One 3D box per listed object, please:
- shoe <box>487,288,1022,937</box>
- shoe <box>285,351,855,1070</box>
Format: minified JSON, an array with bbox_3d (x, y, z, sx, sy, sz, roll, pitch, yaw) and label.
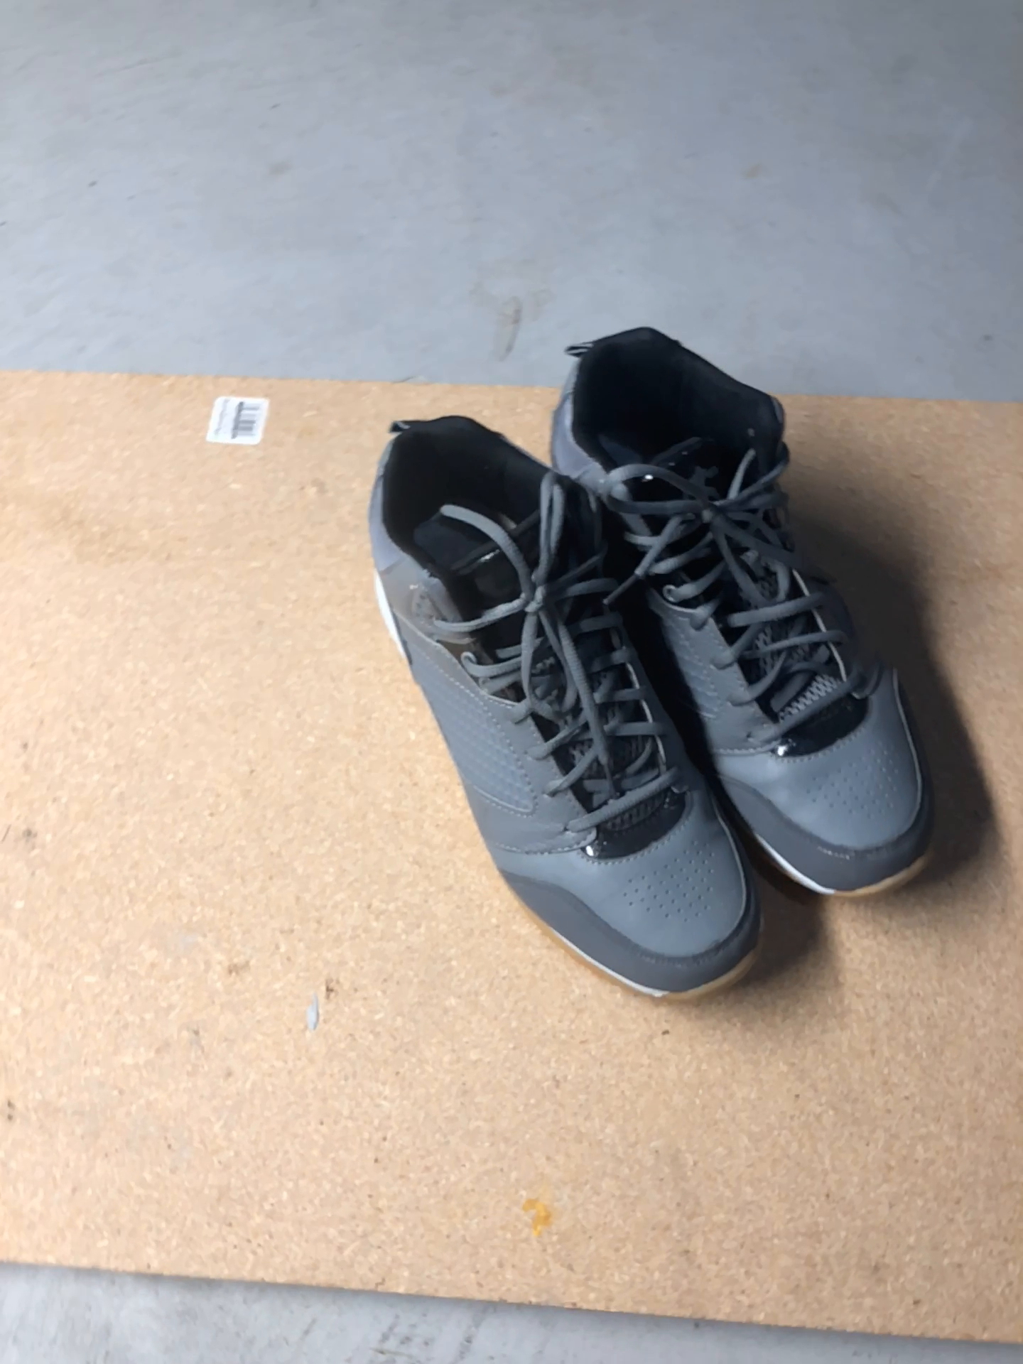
[{"bbox_3d":[0.101,-0.031,0.539,0.100,0.140,0.260,-29,68,-9],"label":"shoe"},{"bbox_3d":[0.015,0.011,0.509,0.110,0.120,0.280,-26,67,-8],"label":"shoe"}]
